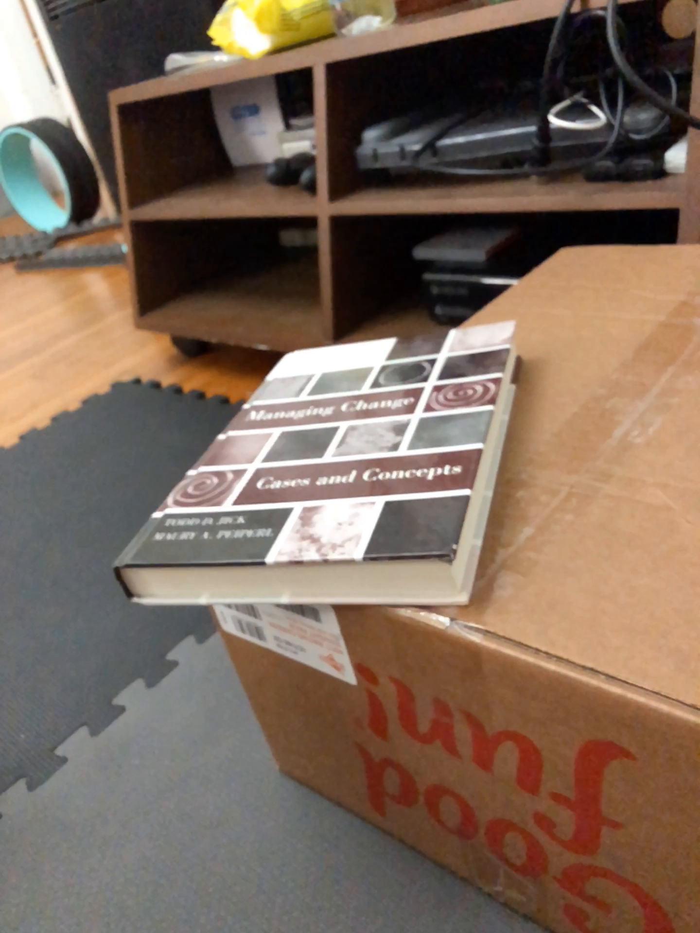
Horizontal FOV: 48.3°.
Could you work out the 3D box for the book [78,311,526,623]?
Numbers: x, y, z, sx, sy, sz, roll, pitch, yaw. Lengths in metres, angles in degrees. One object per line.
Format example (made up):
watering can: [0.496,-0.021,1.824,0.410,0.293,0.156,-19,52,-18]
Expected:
book: [-0.005,-0.014,0.437,0.180,0.030,0.251,-3,32,20]
